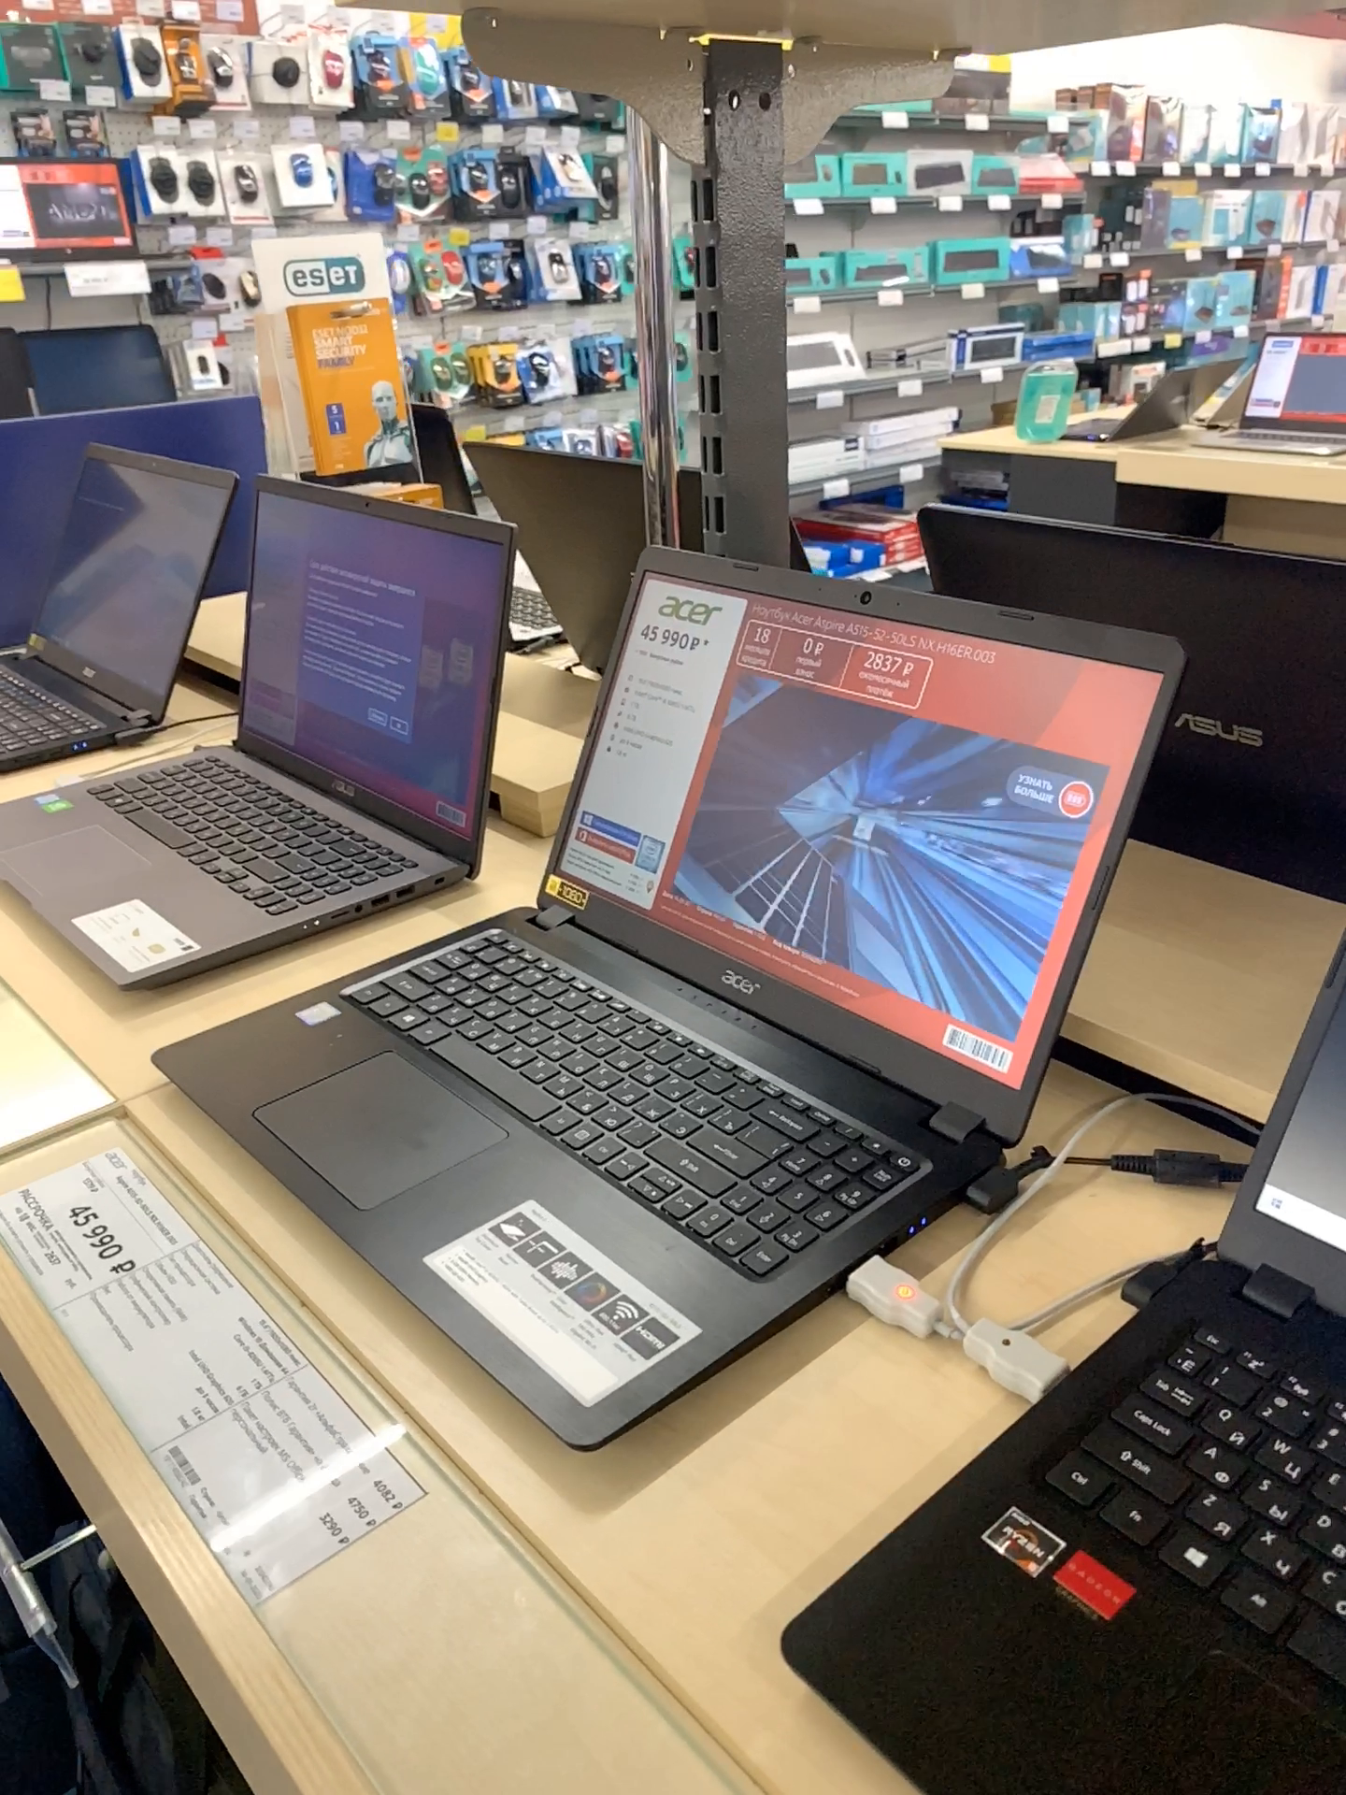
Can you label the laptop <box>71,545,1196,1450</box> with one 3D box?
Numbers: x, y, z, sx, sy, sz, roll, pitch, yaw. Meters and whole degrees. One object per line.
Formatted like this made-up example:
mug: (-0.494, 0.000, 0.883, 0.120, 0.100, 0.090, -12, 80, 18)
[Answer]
laptop: (-0.022, -0.015, 0.670, 0.365, 0.208, 0.369, -22, 31, -36)
